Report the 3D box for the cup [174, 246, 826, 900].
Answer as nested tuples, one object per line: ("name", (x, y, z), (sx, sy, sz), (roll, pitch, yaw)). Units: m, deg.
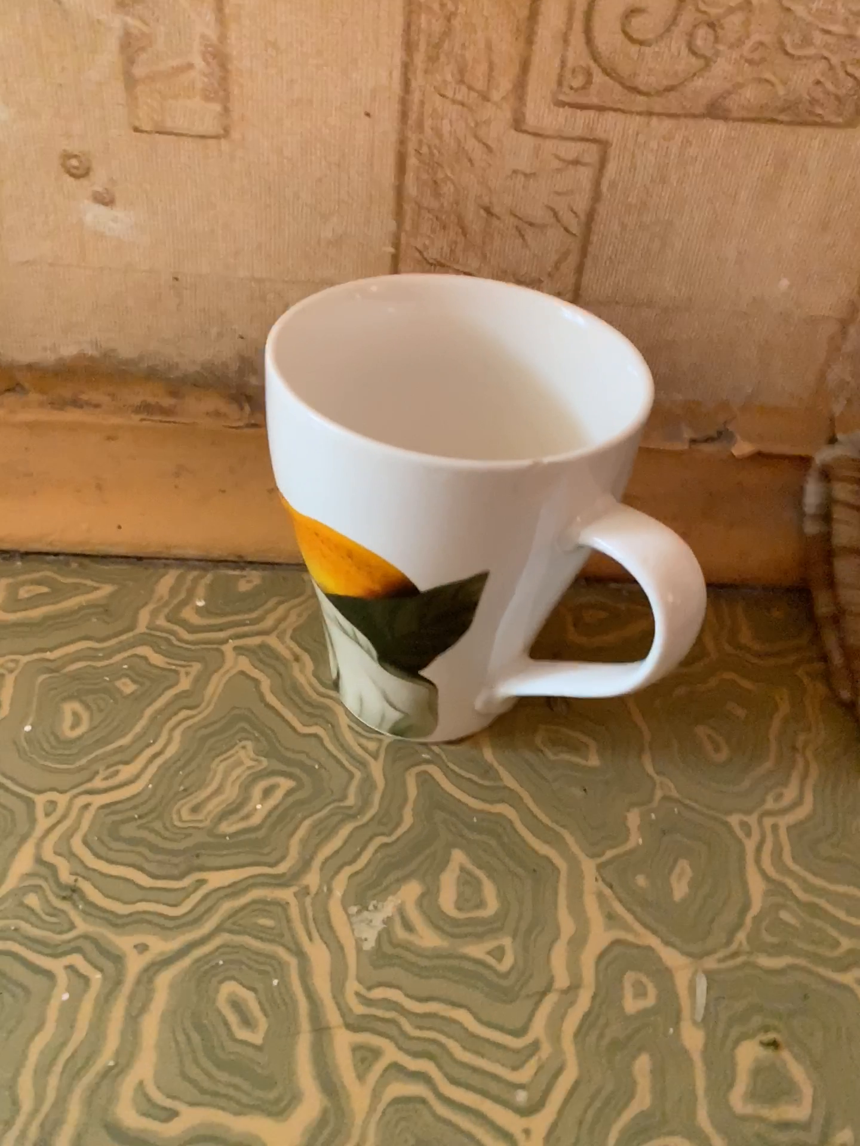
("cup", (0.012, -0.009, 0.237), (0.119, 0.099, 0.094), (33, 47, 28))
